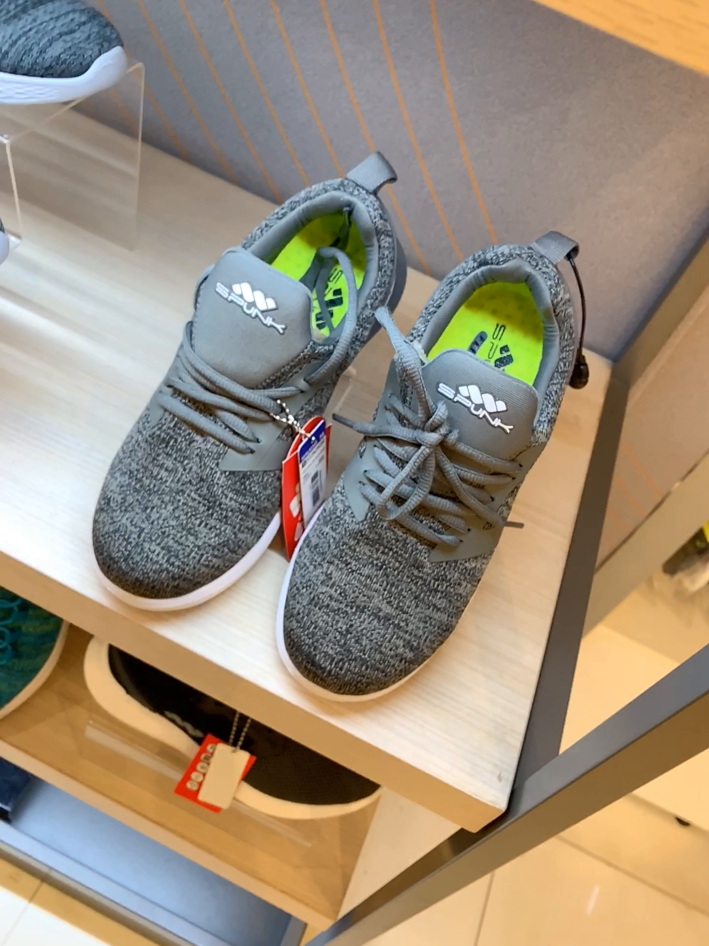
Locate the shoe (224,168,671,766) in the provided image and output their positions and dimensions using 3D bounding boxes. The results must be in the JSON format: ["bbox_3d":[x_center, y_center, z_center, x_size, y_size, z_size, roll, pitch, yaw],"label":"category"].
[{"bbox_3d":[0.042,-0.004,0.352,0.090,0.080,0.240,27,85,3],"label":"shoe"}]

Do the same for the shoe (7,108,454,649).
[{"bbox_3d":[-0.049,-0.043,0.363,0.080,0.080,0.240,30,81,8],"label":"shoe"}]
